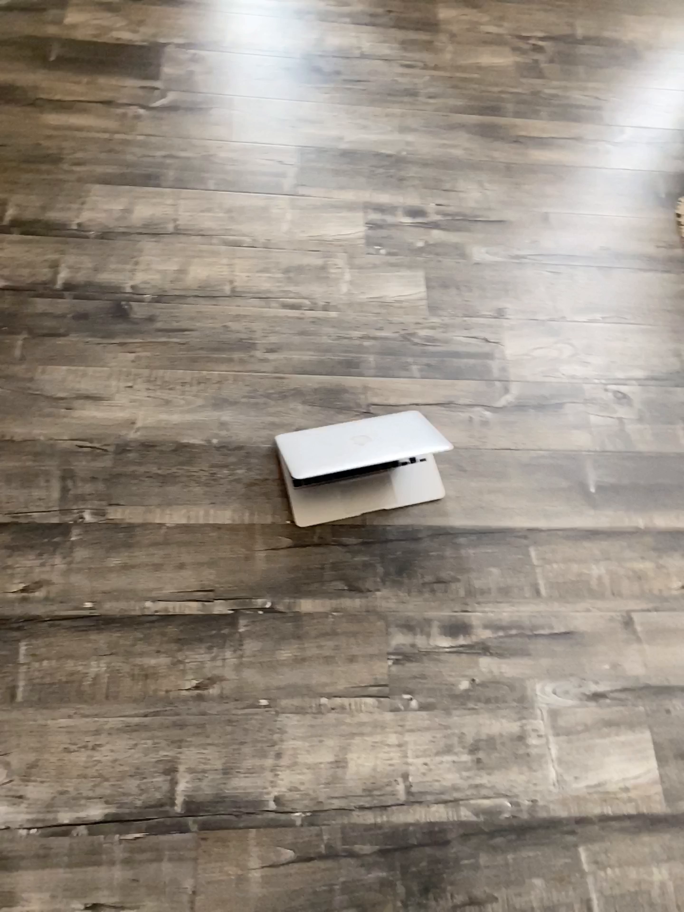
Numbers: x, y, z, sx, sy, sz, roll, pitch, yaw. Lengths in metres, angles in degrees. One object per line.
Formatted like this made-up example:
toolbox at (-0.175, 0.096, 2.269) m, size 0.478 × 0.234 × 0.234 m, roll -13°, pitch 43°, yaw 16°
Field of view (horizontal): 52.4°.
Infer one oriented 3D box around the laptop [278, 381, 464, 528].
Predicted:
laptop at (0.042, -0.005, 1.178) m, size 0.270 × 0.113 × 0.173 m, roll -10°, pitch 65°, yaw -13°
